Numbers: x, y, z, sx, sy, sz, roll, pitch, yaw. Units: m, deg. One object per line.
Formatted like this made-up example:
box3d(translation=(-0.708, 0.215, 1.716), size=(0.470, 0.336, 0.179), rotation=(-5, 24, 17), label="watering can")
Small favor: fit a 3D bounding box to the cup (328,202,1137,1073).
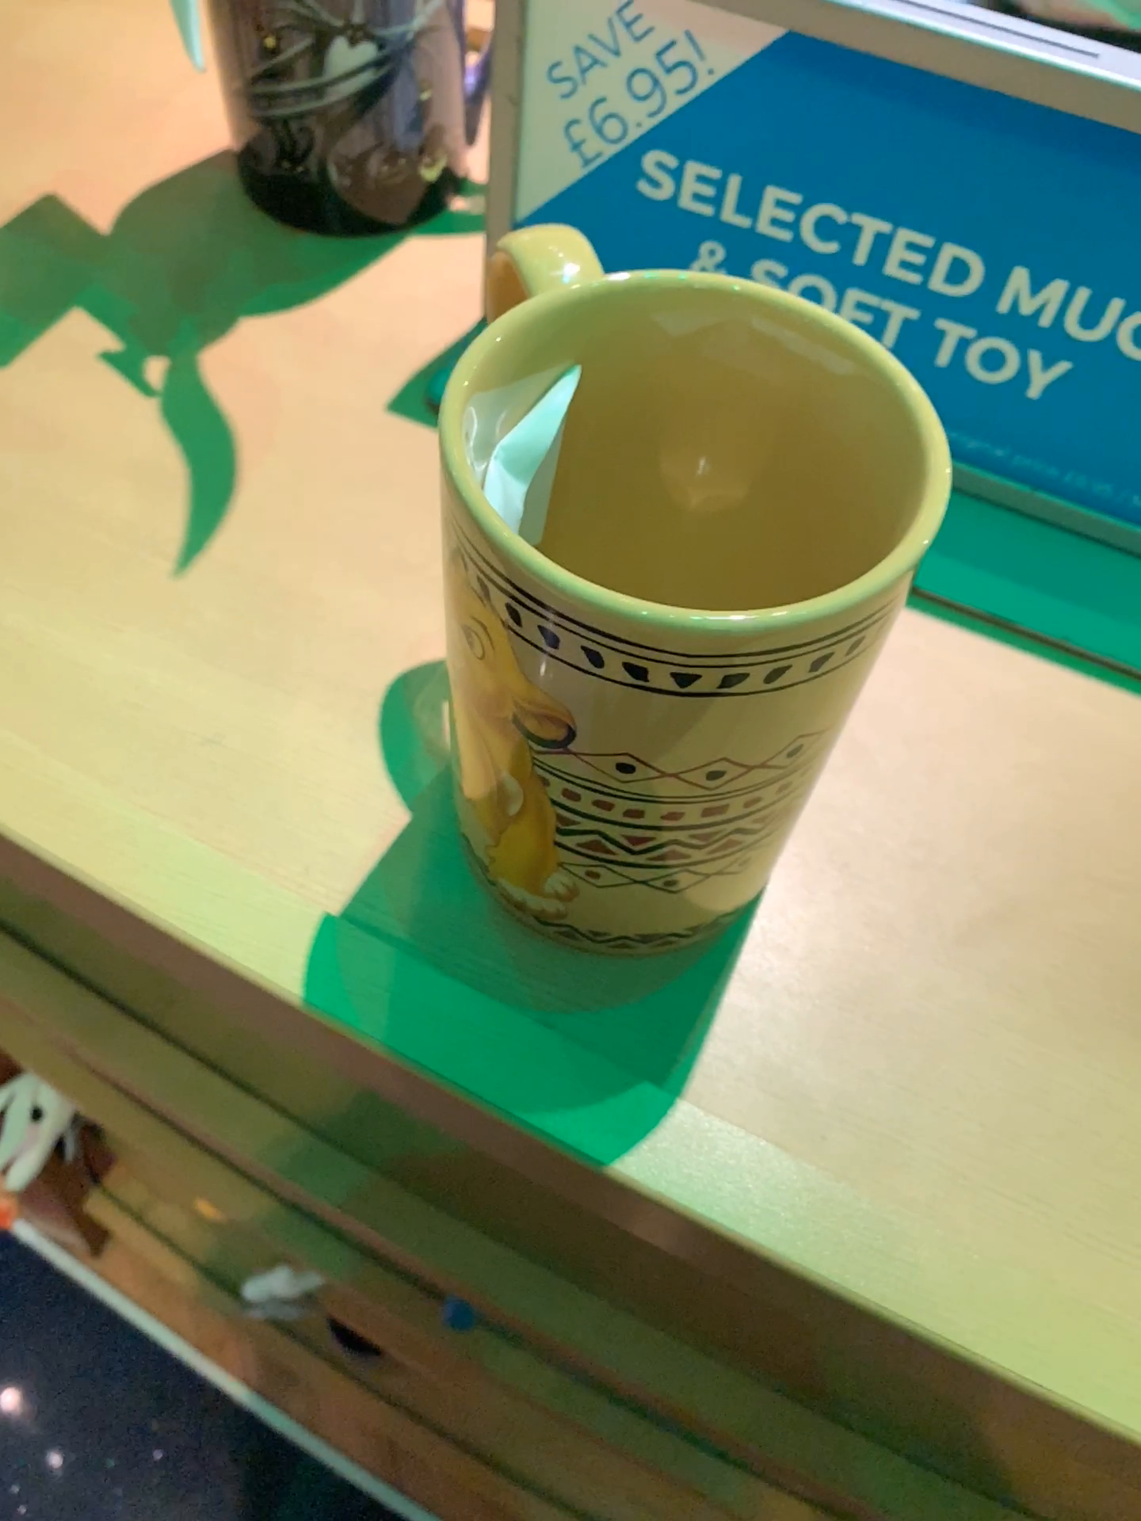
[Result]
box3d(translation=(0.017, -0.026, 0.260), size=(0.100, 0.121, 0.119), rotation=(-18, 60, -20), label="cup")
